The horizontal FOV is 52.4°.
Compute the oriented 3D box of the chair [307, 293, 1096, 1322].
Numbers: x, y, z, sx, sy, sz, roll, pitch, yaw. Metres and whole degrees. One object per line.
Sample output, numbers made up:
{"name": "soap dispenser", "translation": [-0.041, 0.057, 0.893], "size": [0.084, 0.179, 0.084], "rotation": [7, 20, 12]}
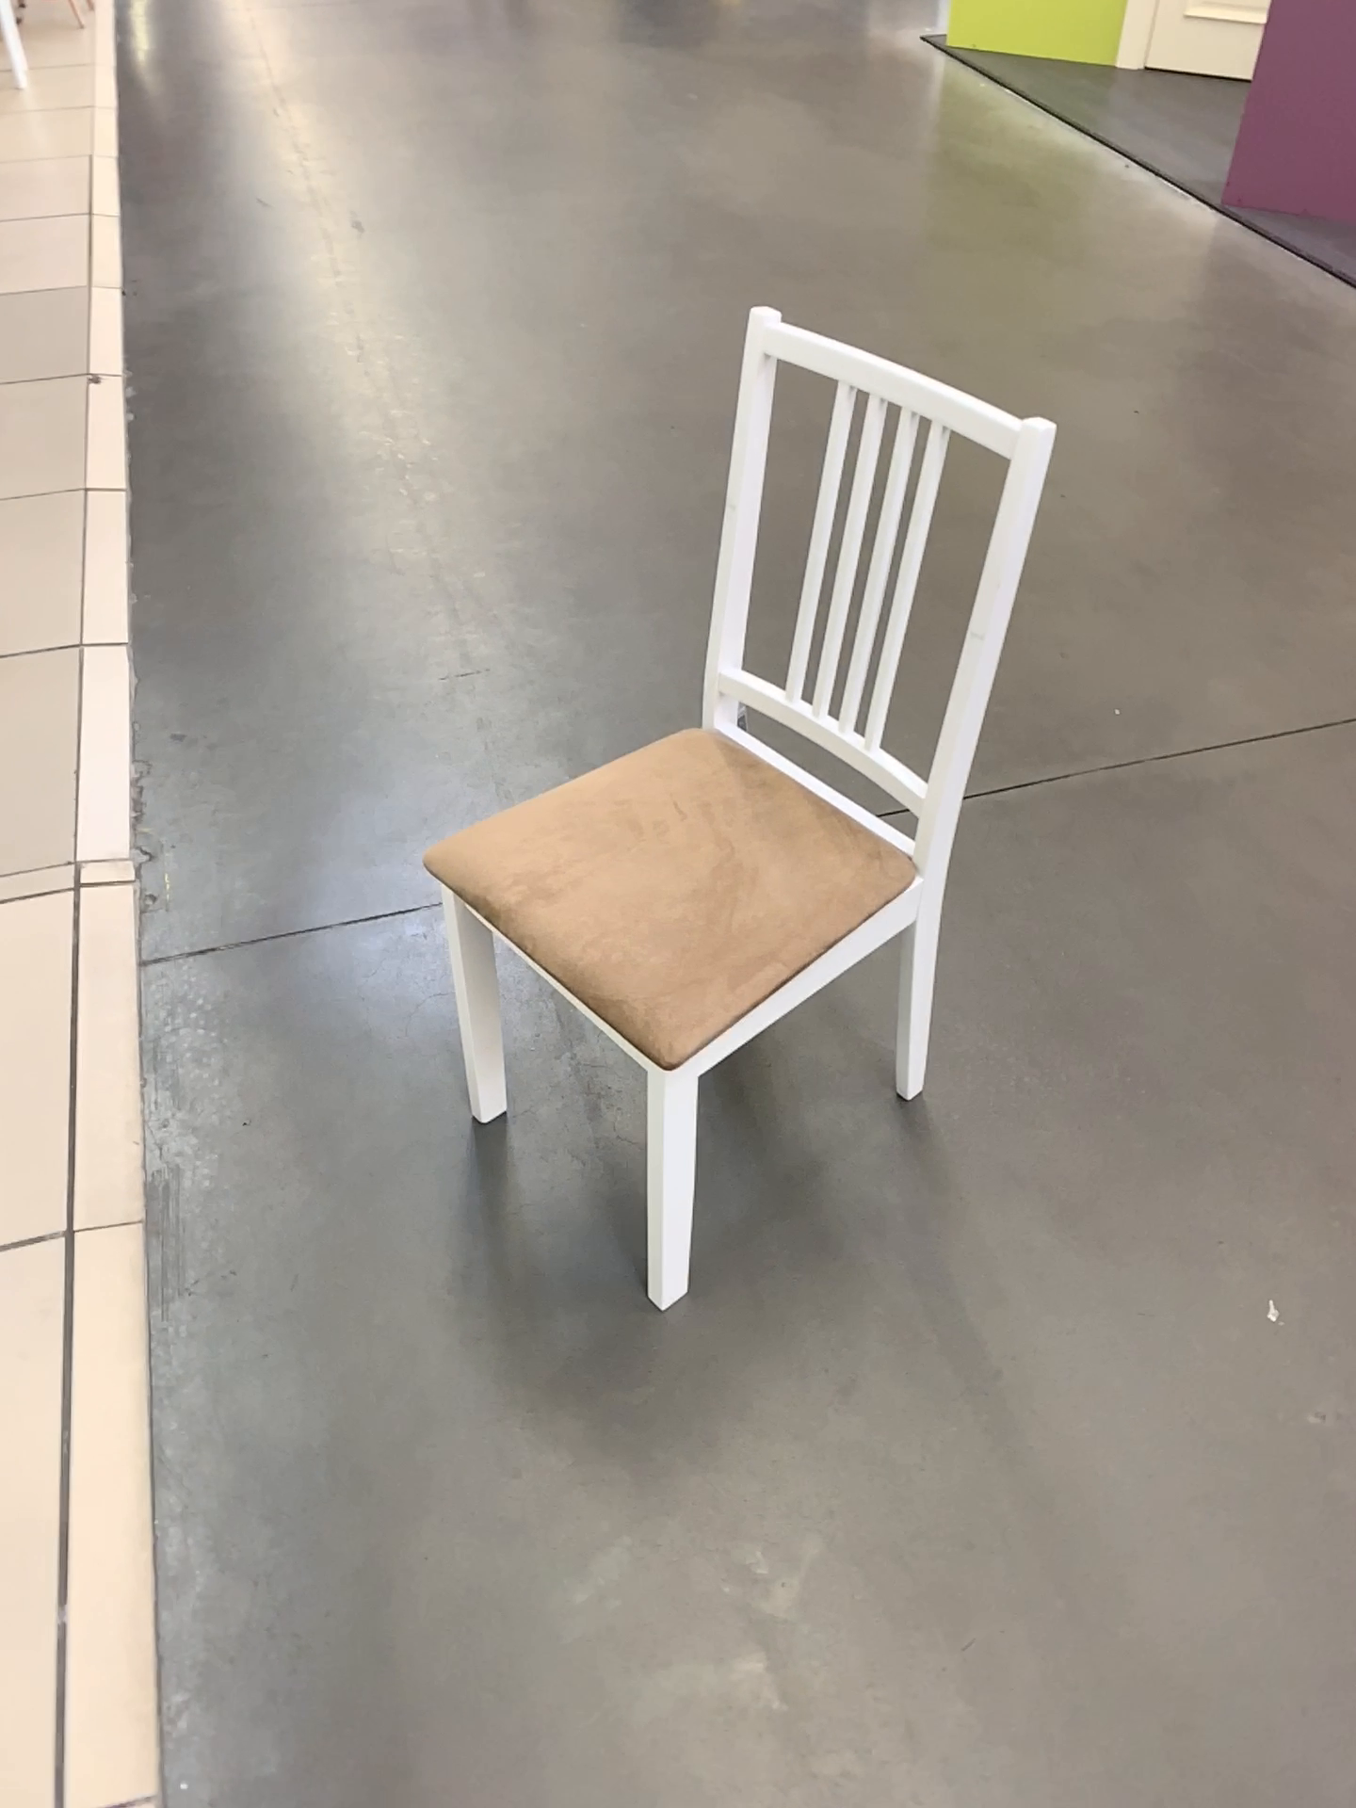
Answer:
{"name": "chair", "translation": [0.027, -0.080, 1.390], "size": [0.501, 0.816, 0.401], "rotation": [-33, 52, -30]}
